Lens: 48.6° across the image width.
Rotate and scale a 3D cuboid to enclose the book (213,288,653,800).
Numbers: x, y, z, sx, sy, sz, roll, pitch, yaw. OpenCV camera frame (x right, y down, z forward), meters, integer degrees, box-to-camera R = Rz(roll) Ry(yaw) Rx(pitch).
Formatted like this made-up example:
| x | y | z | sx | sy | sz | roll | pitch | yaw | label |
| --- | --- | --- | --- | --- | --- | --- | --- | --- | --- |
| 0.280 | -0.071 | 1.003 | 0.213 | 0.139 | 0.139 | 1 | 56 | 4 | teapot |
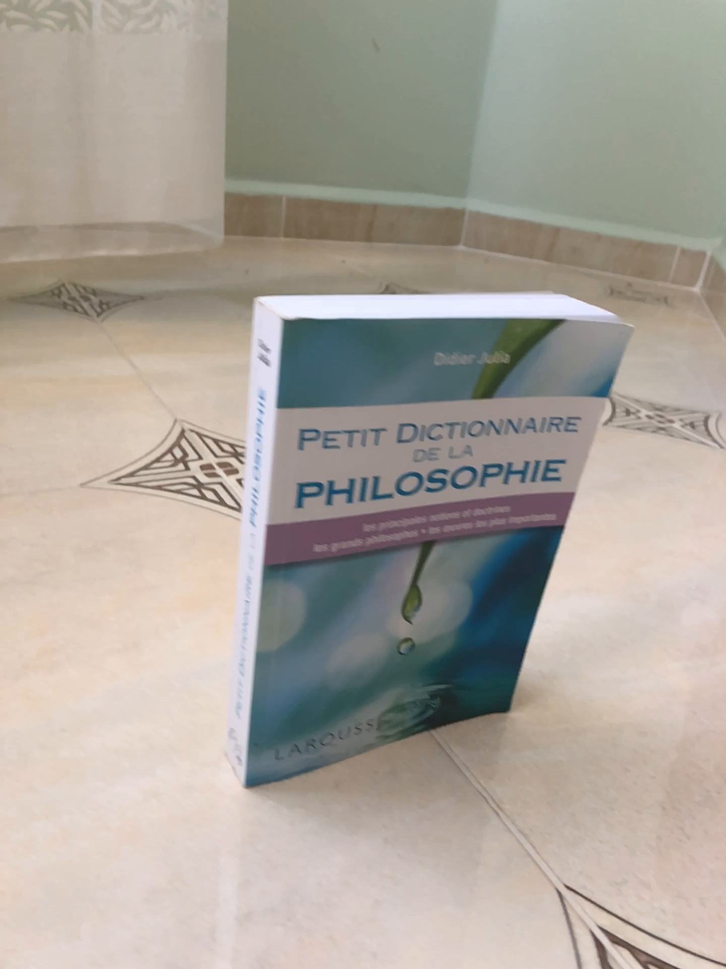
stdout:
| x | y | z | sx | sy | sz | roll | pitch | yaw | label |
| --- | --- | --- | --- | --- | --- | --- | --- | --- | --- |
| 0.021 | 0.022 | 0.307 | 0.140 | 0.185 | 0.034 | -7 | 31 | -28 | book |
